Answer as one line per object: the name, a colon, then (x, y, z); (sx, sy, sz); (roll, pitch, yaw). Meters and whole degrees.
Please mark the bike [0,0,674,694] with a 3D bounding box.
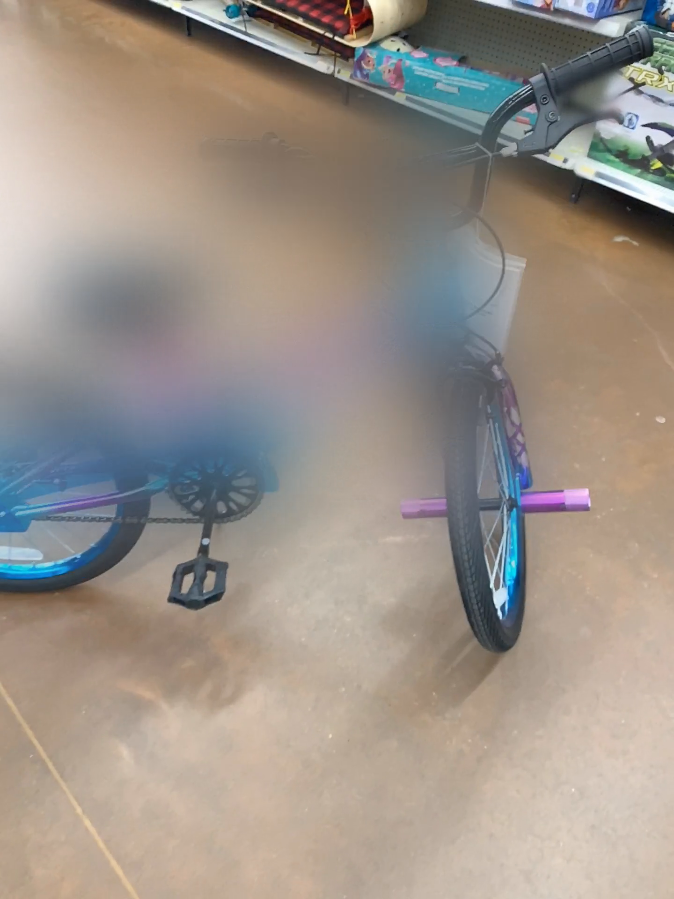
bike: (-0.219, -0.217, 1.118); (1.119, 0.877, 0.622); (-5, 46, -11)
